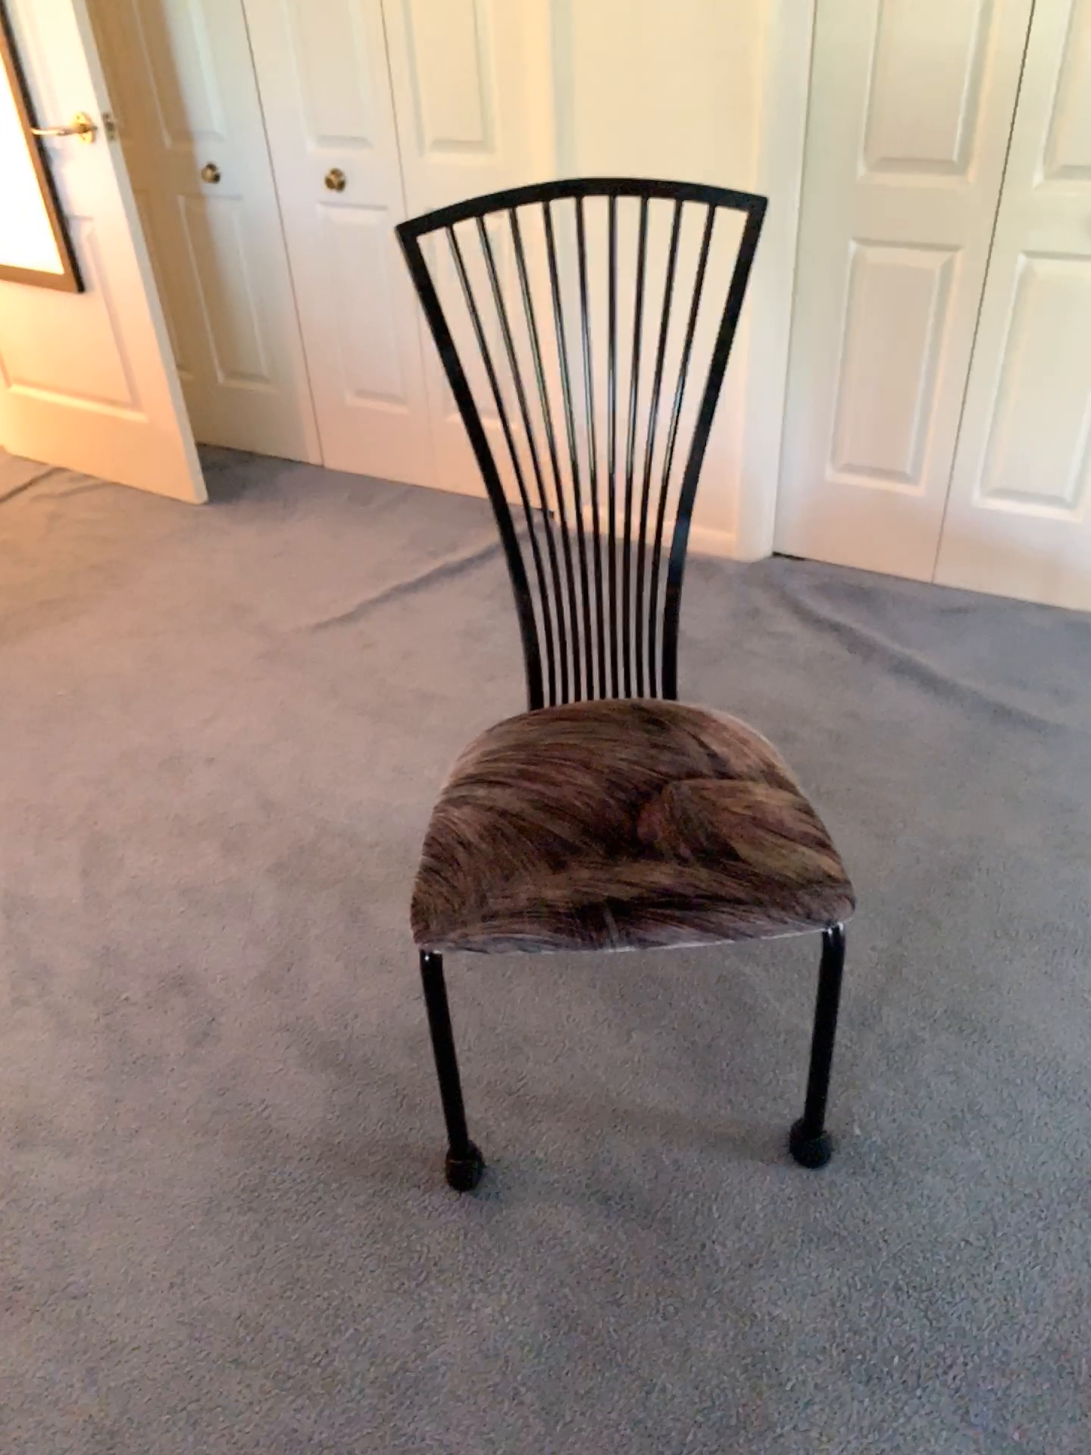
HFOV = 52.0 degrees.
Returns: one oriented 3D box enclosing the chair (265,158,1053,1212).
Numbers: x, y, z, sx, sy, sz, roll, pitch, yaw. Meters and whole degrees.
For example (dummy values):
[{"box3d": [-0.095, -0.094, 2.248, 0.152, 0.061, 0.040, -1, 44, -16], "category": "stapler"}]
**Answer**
[{"box3d": [0.079, -0.019, 1.224, 0.510, 0.974, 0.543, -5, 36, -2], "category": "chair"}]
